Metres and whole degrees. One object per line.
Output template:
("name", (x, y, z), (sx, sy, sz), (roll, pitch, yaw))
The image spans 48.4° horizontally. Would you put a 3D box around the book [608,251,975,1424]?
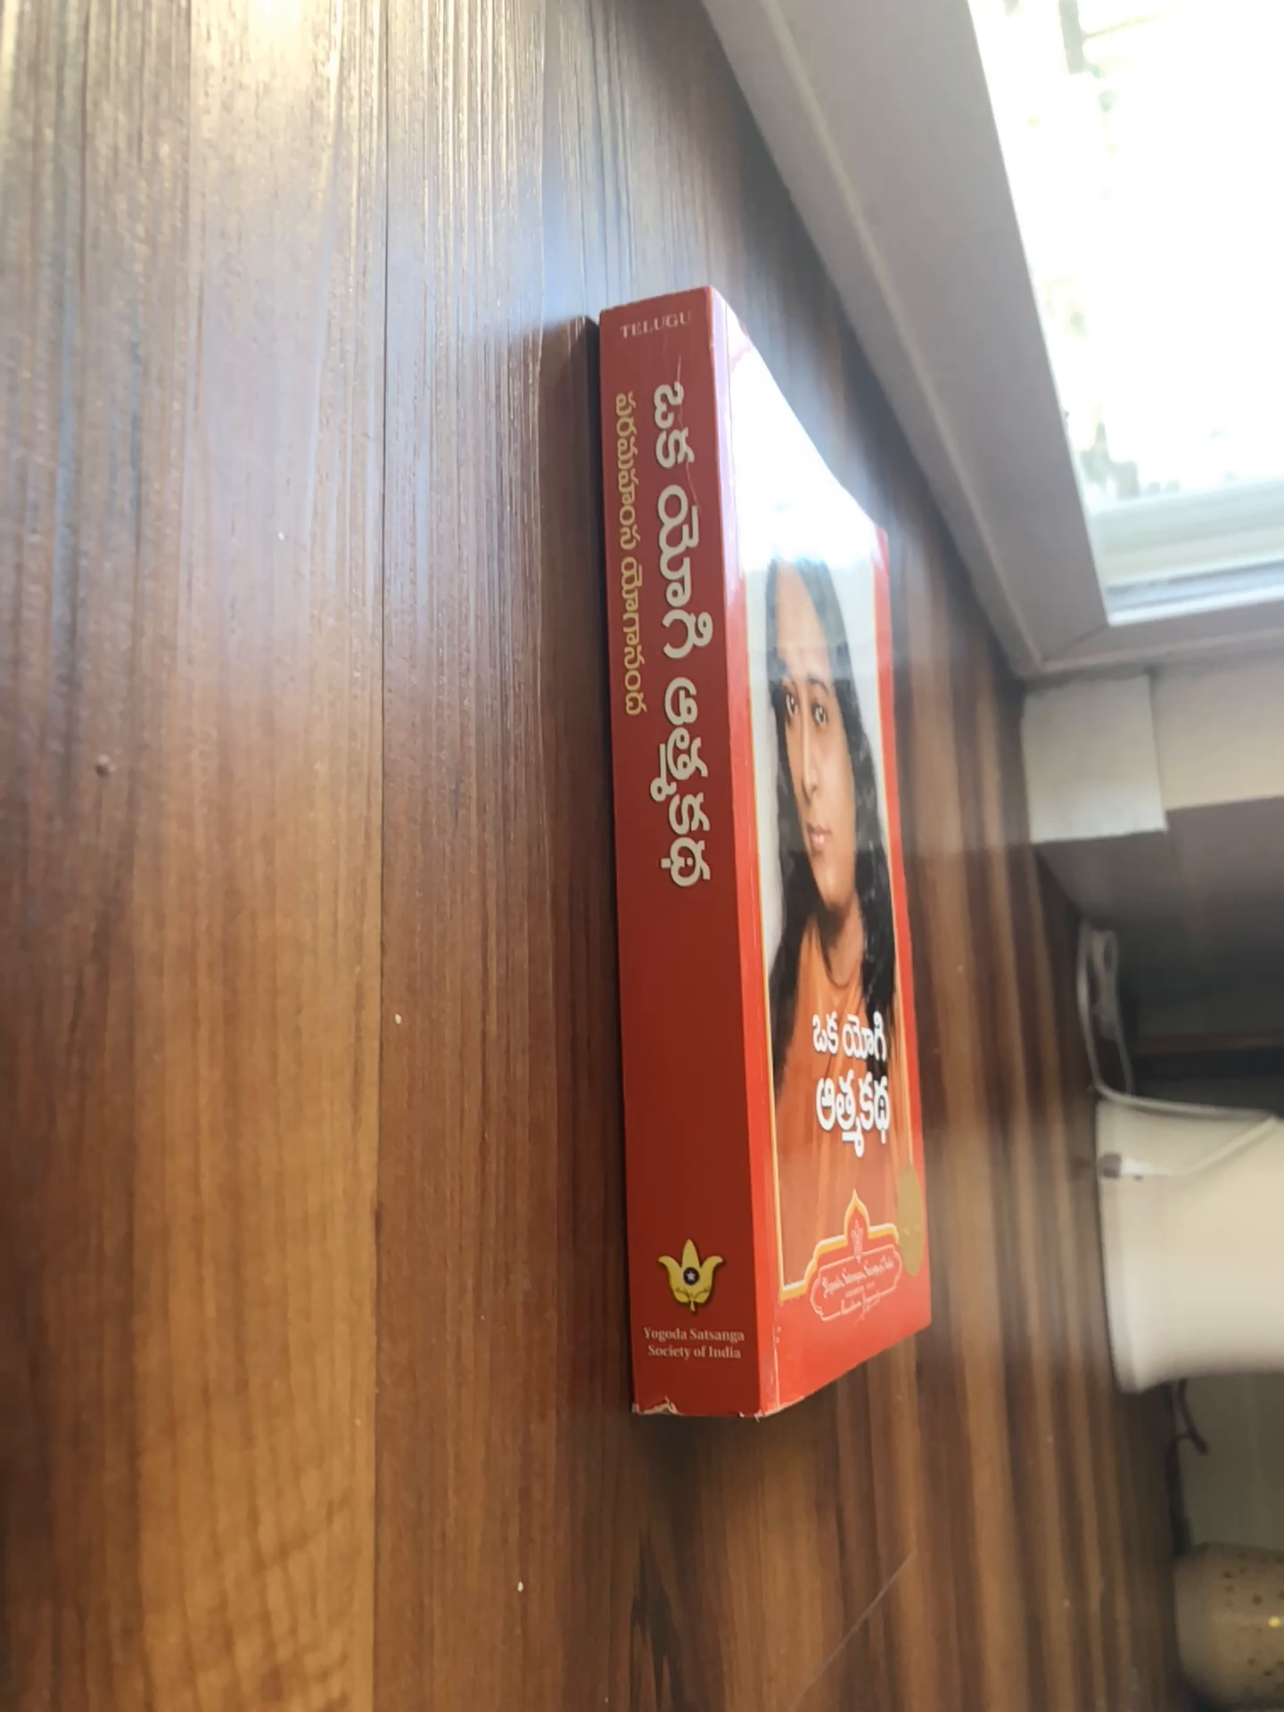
("book", (0.039, 0.003, 0.327), (0.148, 0.030, 0.214), (24, 62, -64))
